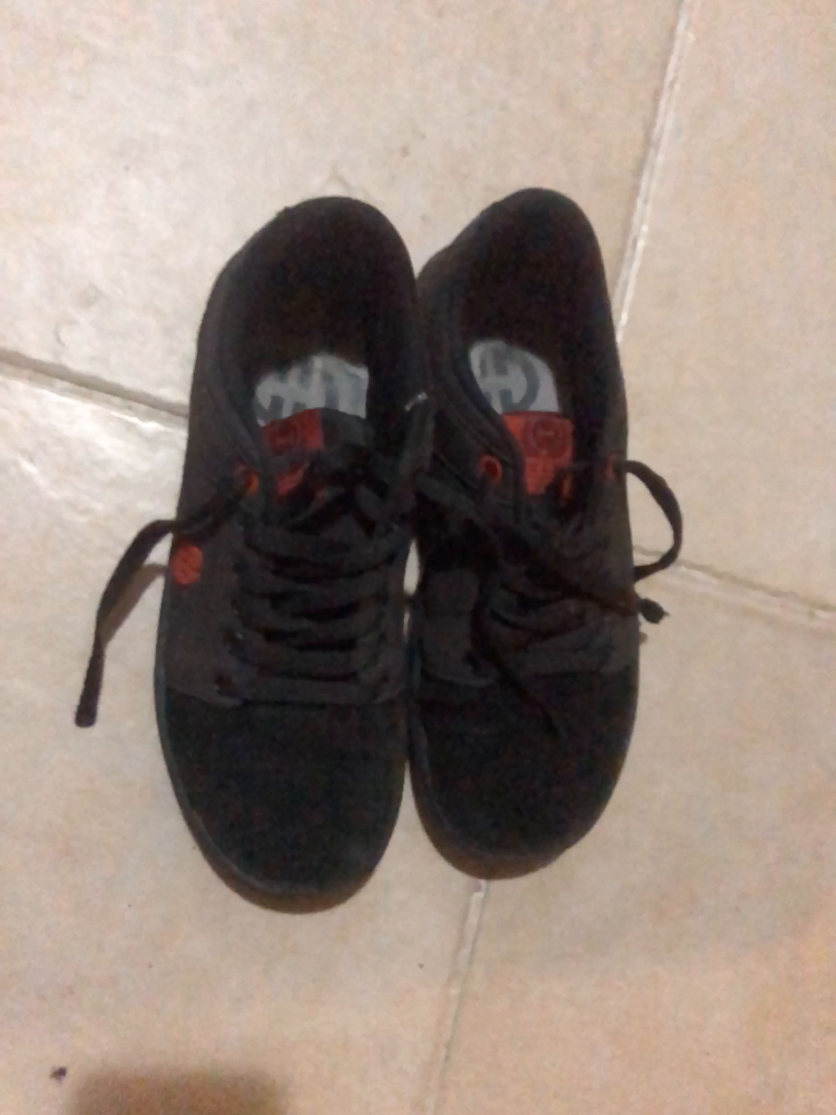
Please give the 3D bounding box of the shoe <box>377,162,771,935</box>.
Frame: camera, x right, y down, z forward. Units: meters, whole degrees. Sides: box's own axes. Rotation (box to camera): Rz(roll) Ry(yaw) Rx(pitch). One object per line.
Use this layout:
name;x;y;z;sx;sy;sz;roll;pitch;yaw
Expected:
shoe;0.050;-0.004;0.350;0.100;0.100;0.240;-2;87;-15

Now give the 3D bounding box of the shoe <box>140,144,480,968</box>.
shoe;-0.042;0.000;0.333;0.100;0.100;0.240;2;86;-15
